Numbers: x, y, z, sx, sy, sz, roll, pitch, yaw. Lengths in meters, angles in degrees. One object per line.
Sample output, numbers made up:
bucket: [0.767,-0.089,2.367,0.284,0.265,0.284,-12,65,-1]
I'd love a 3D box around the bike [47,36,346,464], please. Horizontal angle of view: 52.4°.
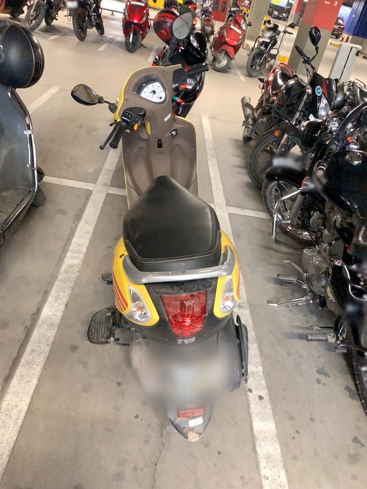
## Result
bike: [-0.136,-0.205,1.665,0.566,1.048,1.713,5,33,-11]
